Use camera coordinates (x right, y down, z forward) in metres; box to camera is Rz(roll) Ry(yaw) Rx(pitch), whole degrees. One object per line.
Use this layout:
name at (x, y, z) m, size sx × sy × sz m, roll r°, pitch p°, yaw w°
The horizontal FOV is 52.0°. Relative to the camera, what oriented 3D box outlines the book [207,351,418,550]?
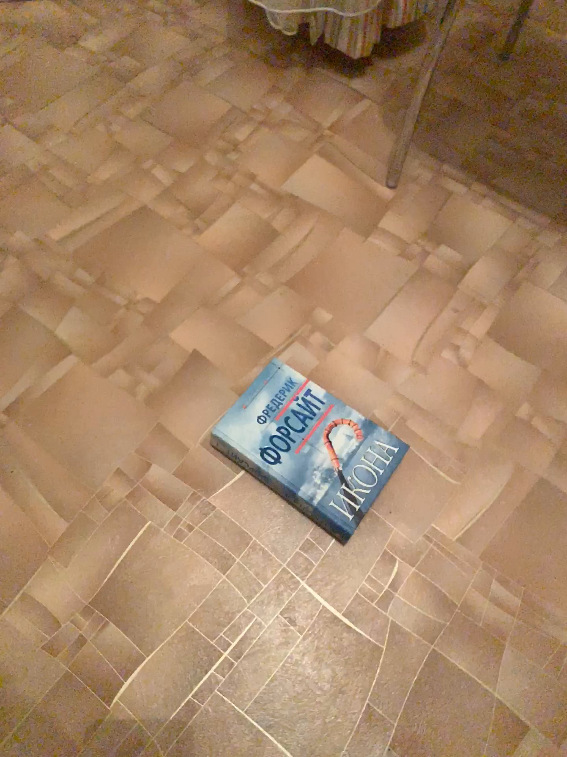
book at (0.036, 0.089, 0.765) m, size 0.223 × 0.056 × 0.153 m, roll 34°, pitch 67°, yaw 15°
